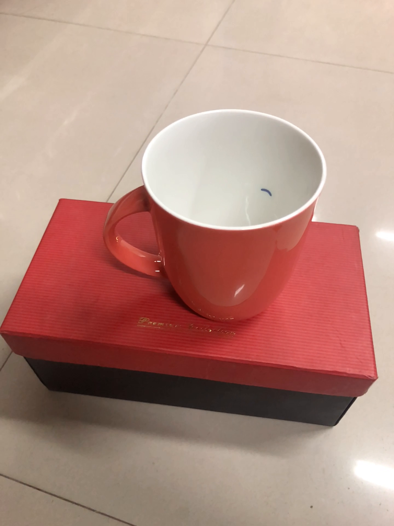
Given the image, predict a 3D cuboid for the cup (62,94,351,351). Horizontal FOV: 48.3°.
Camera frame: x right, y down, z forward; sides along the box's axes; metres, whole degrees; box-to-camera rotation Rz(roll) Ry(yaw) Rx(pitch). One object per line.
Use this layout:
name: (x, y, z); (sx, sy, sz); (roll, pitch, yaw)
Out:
cup: (0.007, -0.020, 0.230); (0.110, 0.089, 0.090); (4, 52, 3)
